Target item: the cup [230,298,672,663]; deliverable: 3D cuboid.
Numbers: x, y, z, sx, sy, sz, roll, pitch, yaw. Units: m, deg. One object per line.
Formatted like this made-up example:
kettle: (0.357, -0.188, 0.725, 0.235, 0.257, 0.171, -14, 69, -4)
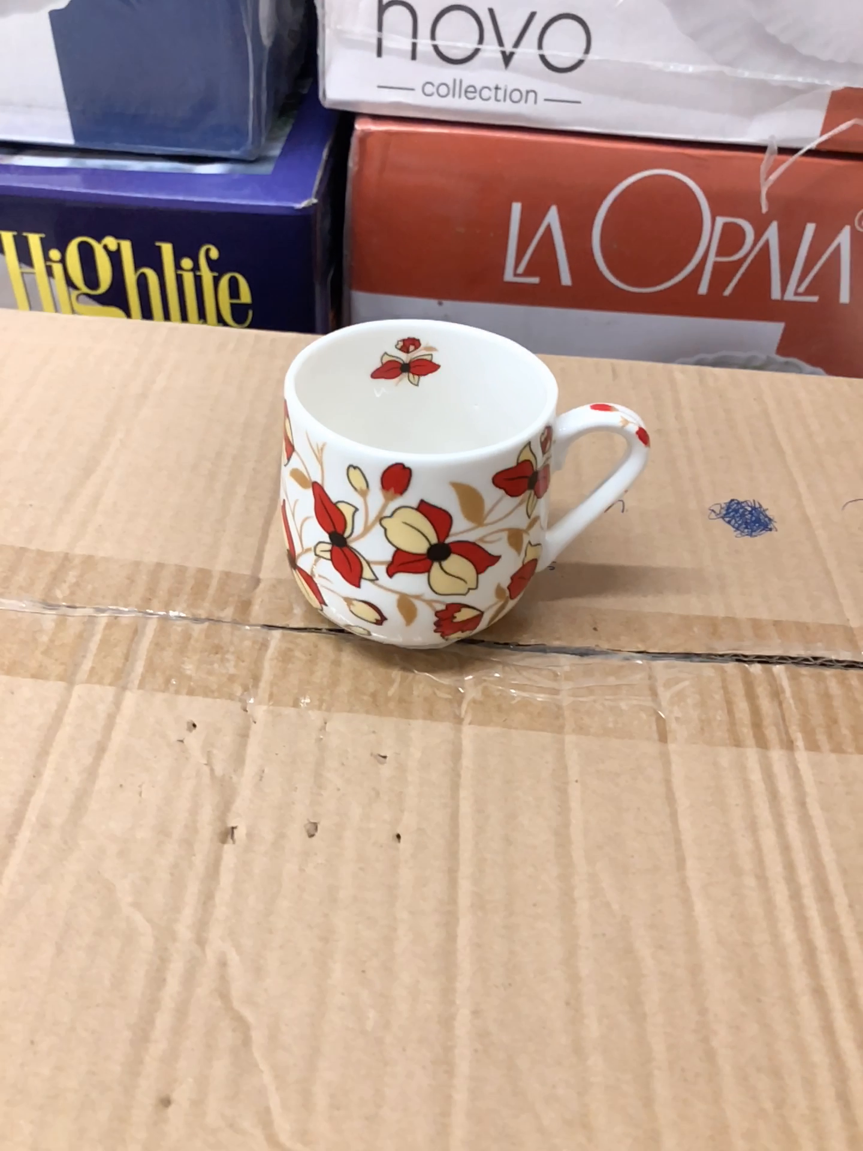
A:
cup: (0.003, -0.024, 0.237, 0.090, 0.060, 0.060, 4, 40, -1)
